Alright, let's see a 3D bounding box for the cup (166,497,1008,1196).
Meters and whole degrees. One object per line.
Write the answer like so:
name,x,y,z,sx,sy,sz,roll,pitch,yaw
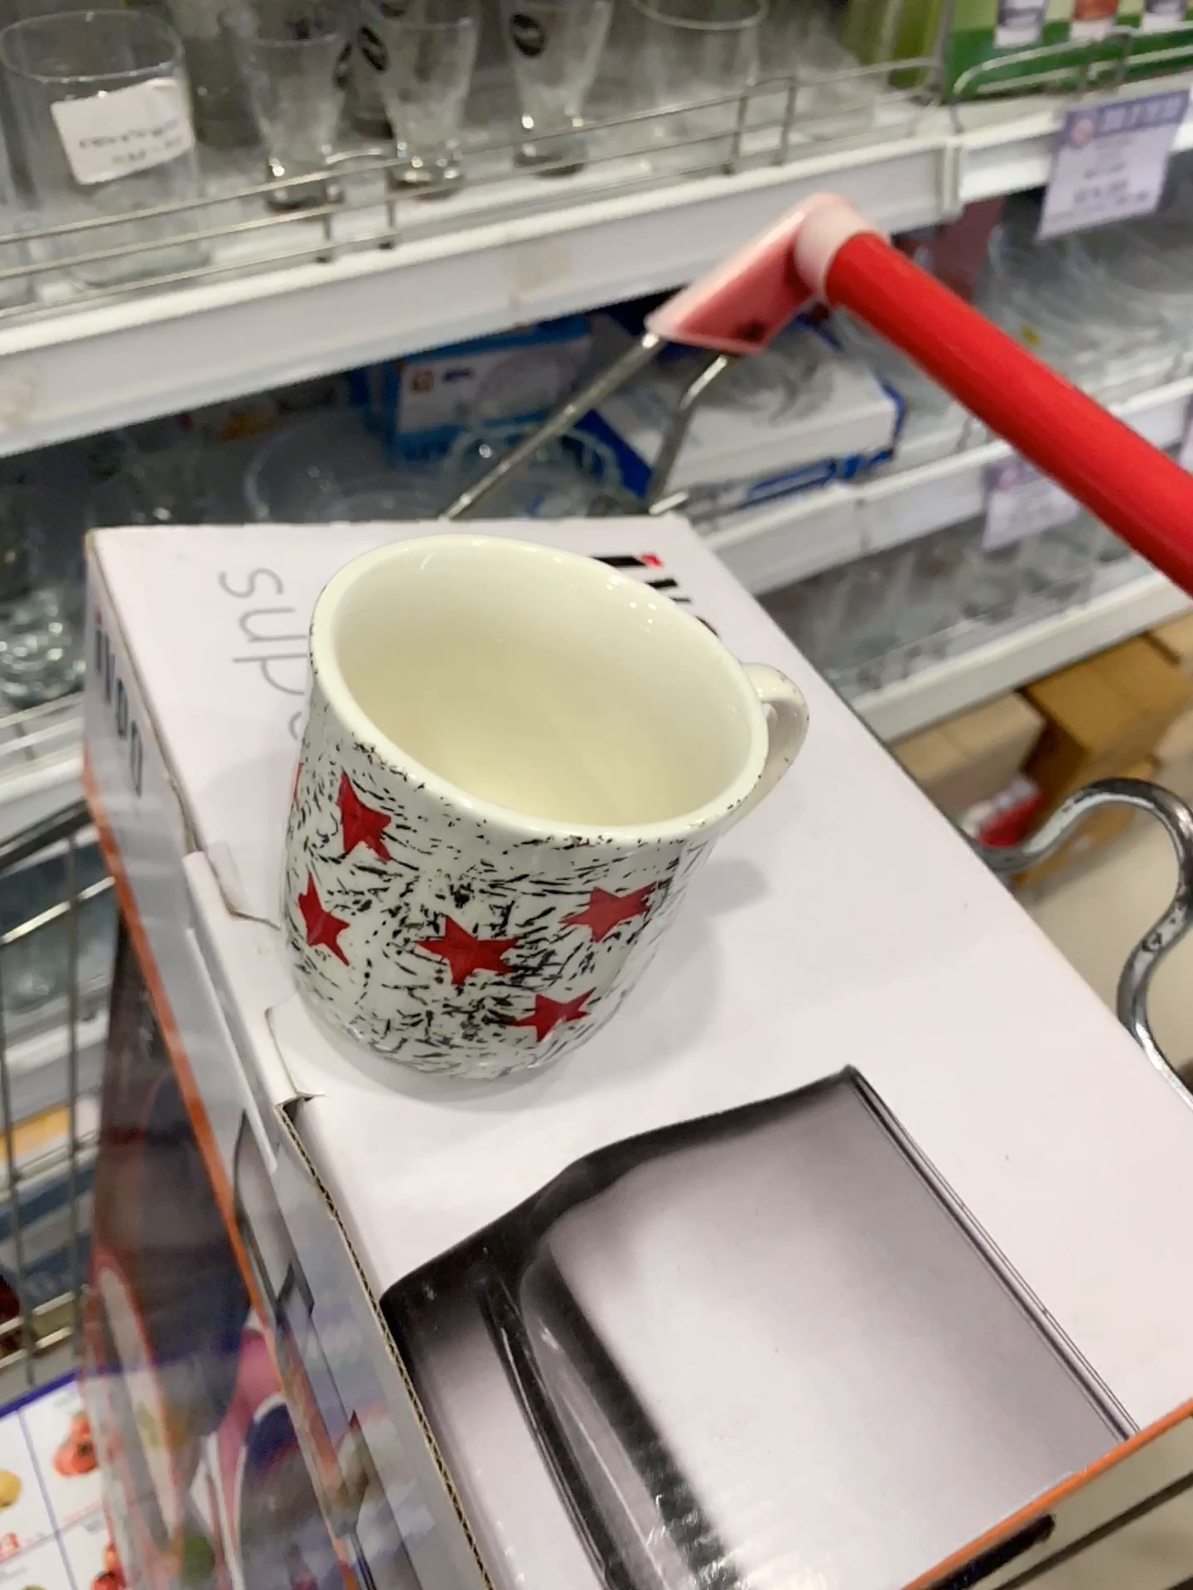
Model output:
cup,-0.005,0.005,0.206,0.100,0.070,0.070,-3,47,-36
